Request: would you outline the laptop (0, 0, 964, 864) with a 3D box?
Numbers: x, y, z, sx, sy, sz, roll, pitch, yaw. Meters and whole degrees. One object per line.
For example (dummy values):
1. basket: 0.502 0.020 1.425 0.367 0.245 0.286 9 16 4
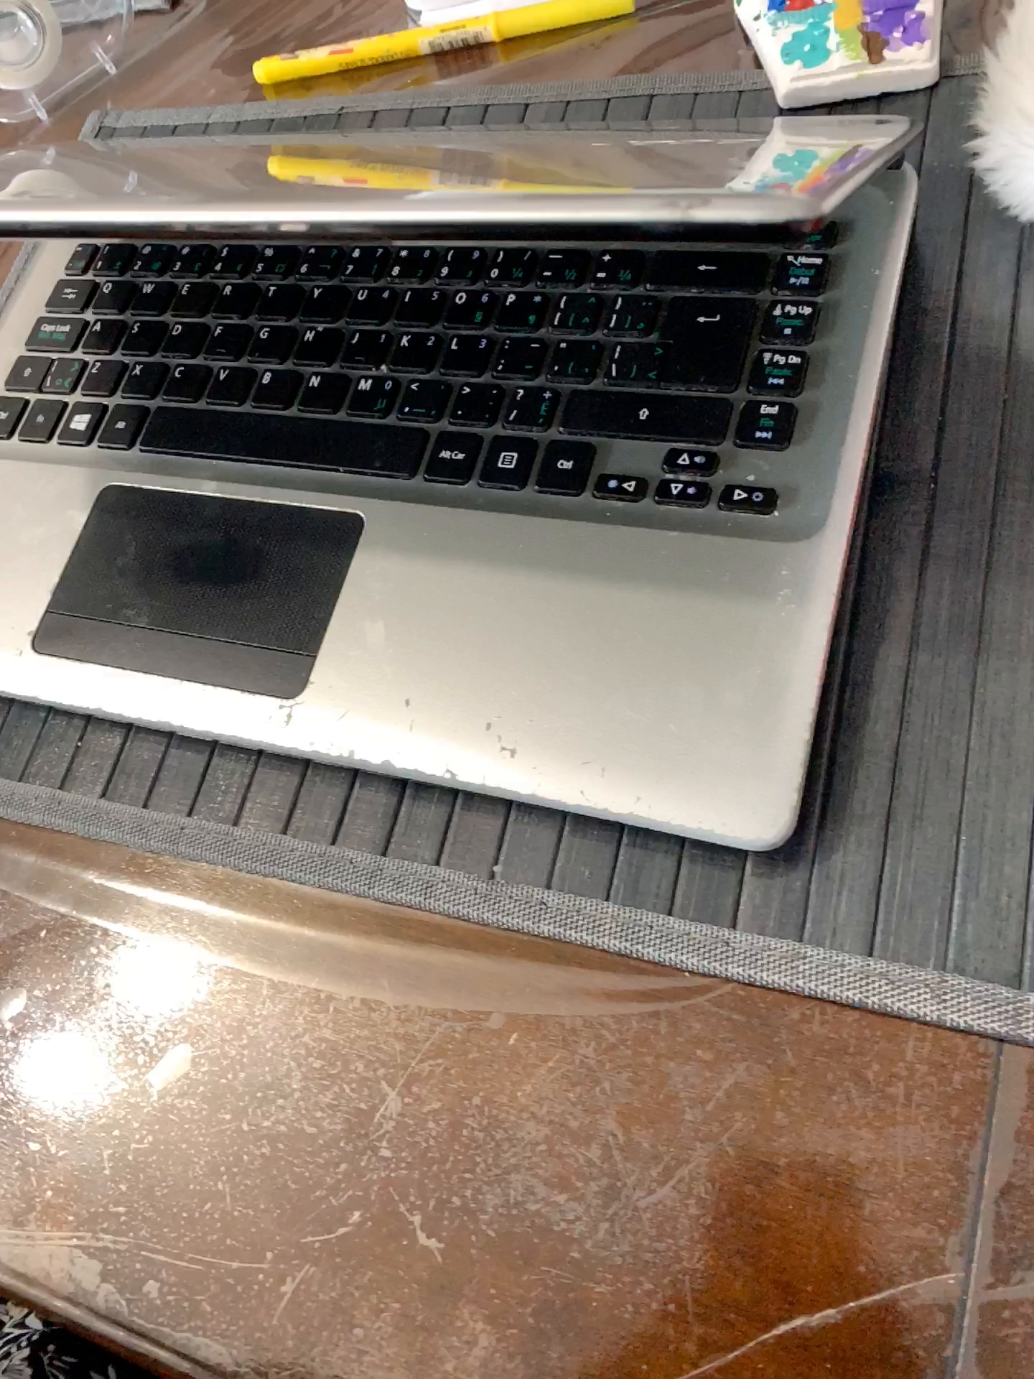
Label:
1. laptop: -0.080 -0.120 0.302 0.345 0.145 0.236 10 69 21
